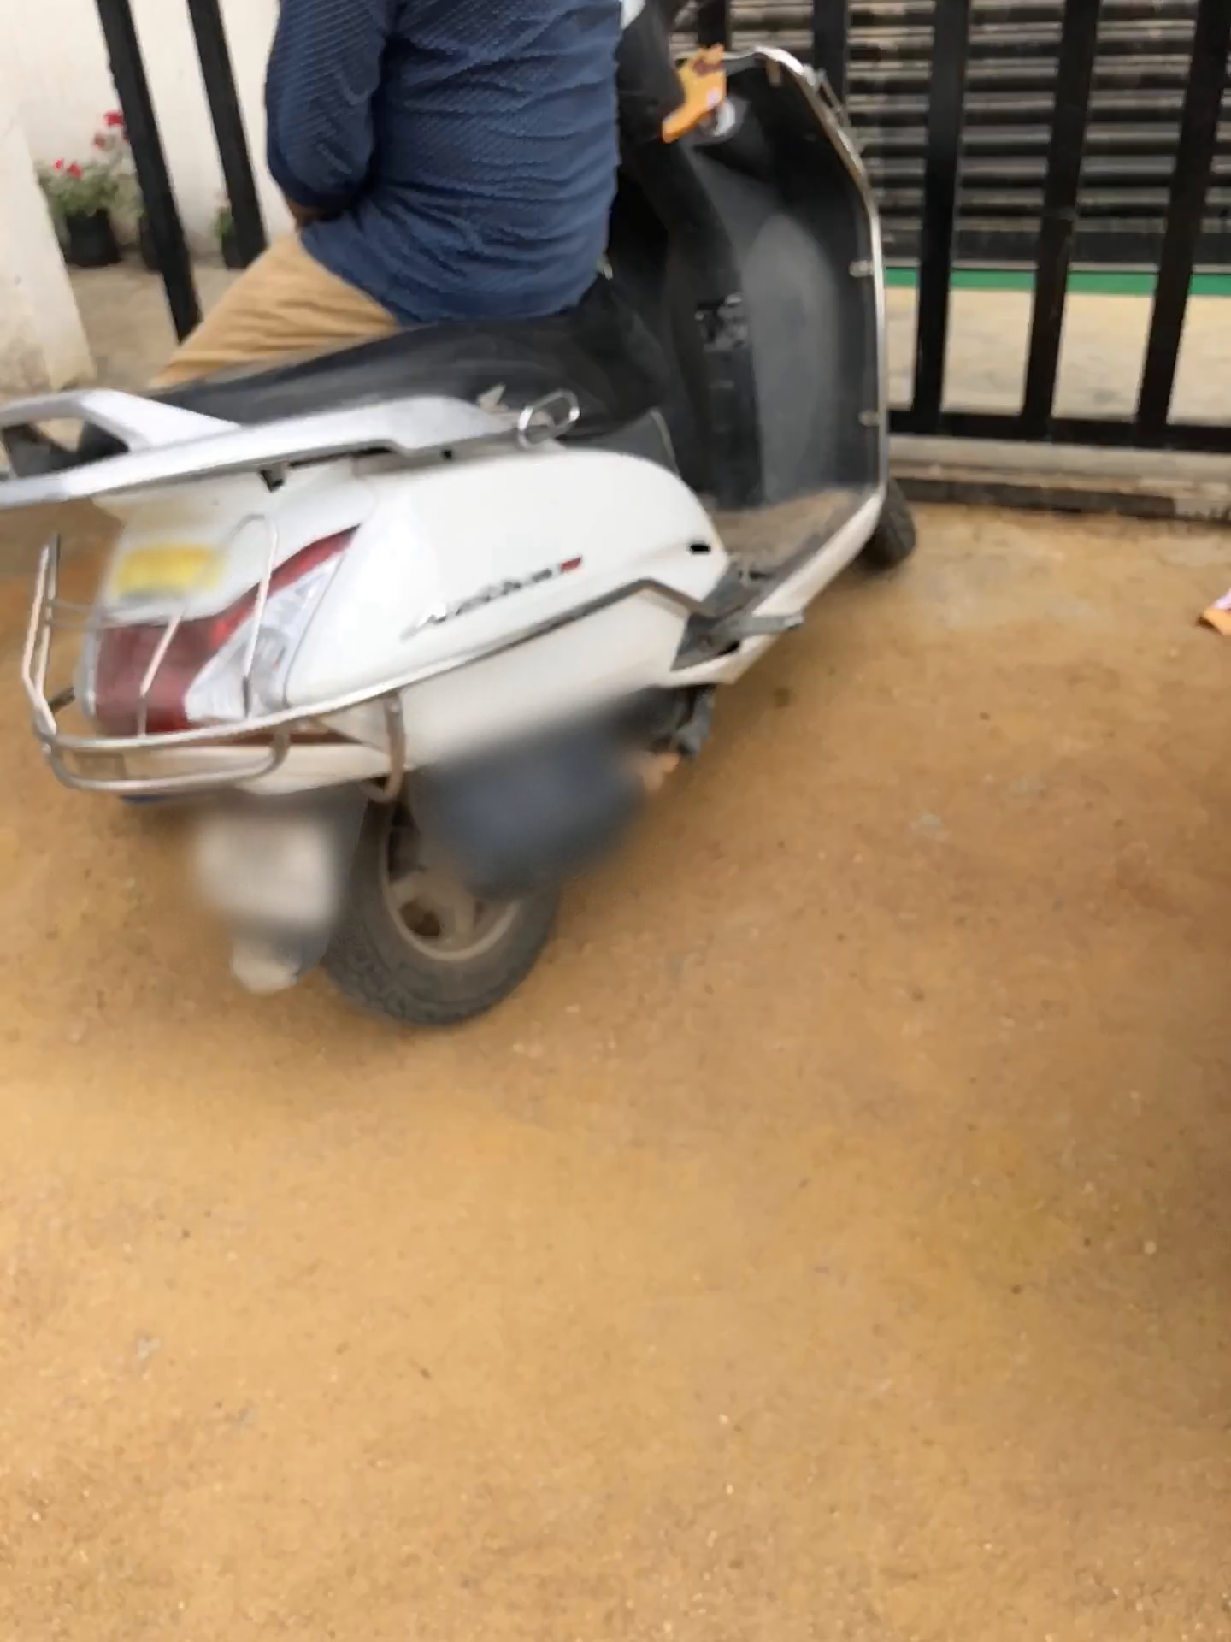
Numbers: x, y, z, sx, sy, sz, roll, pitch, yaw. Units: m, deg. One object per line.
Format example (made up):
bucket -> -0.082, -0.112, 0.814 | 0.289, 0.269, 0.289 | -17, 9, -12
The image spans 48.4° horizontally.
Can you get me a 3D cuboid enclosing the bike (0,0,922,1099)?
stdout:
bike -> -0.110, -0.677, 1.969 | 0.649, 1.069, 1.655 | 12, 40, 22
